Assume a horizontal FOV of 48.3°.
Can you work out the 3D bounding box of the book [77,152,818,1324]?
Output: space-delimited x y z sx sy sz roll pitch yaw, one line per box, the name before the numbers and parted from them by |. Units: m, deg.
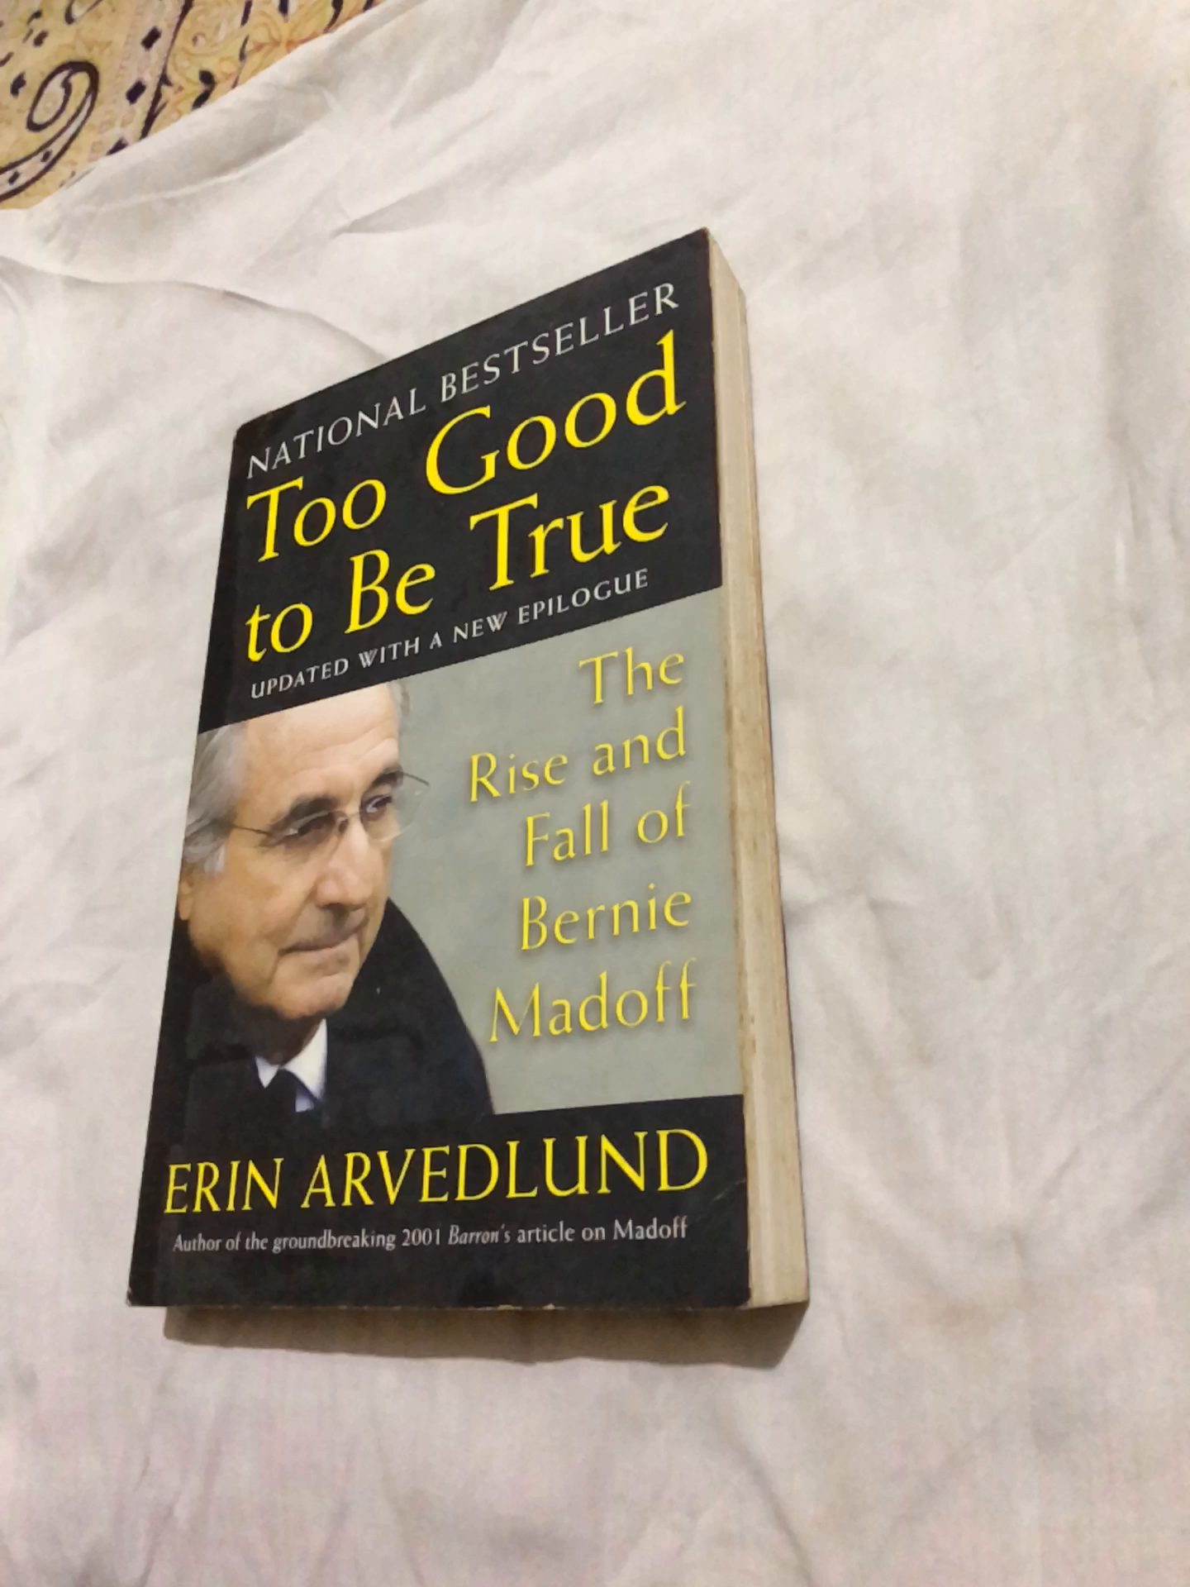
book | -0.035 -0.009 0.288 0.150 0.030 0.230 -13 65 30
